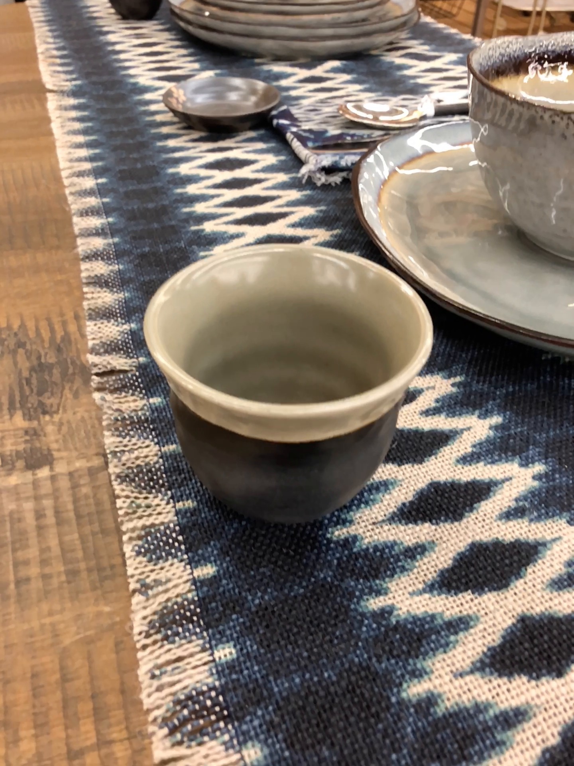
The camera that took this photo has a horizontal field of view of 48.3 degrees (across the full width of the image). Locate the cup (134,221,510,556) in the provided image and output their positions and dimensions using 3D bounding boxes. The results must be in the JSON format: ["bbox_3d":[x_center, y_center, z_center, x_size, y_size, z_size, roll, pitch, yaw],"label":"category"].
[{"bbox_3d":[0.003,-0.004,0.192,0.084,0.048,0.079,1,42,-1],"label":"cup"}]
